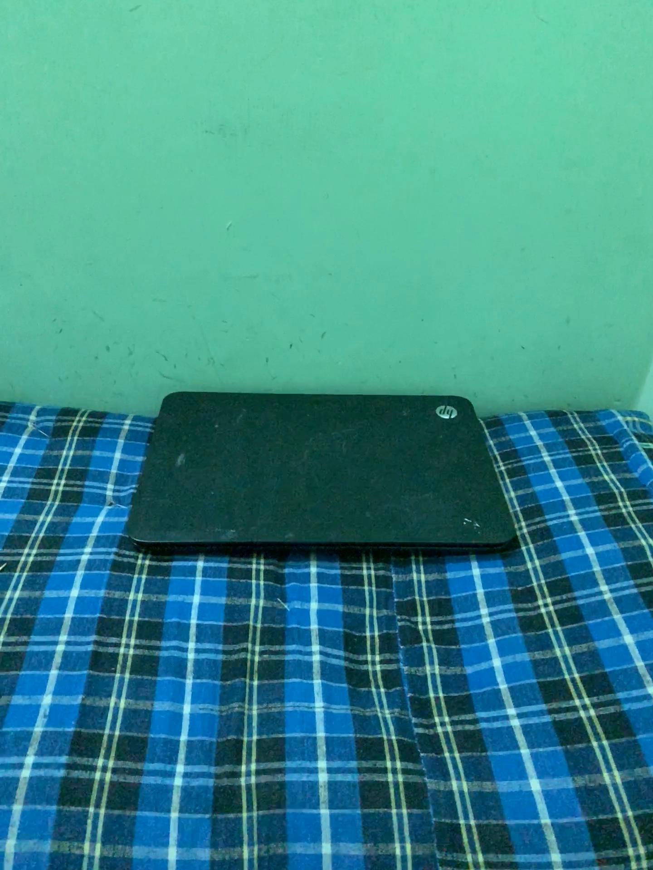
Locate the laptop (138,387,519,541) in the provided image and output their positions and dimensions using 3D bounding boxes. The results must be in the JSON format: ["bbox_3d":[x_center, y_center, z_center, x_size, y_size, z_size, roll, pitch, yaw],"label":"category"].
[{"bbox_3d":[0.001,0.022,0.693,0.346,0.018,0.218,0,39,-3],"label":"laptop"}]
